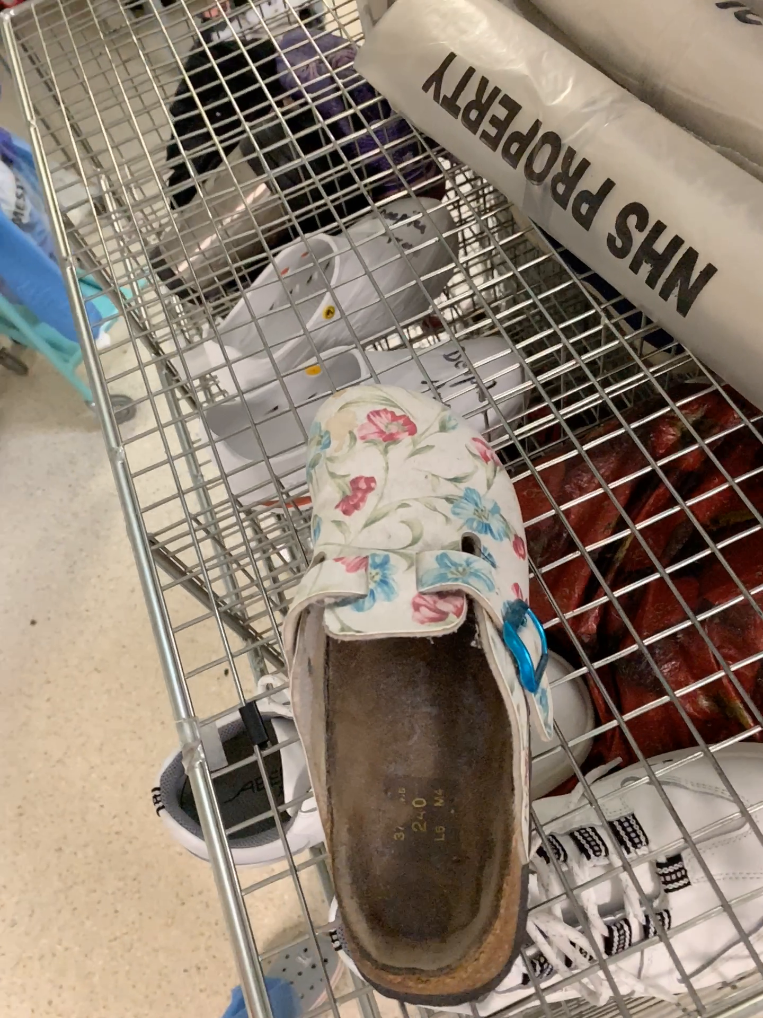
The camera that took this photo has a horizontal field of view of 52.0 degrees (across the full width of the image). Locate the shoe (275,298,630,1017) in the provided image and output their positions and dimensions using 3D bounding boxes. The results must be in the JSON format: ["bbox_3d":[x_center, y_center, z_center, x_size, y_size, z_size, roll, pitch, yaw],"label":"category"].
[{"bbox_3d":[0.018,0.046,0.317,0.100,0.070,0.260,-10,61,9],"label":"shoe"}]
